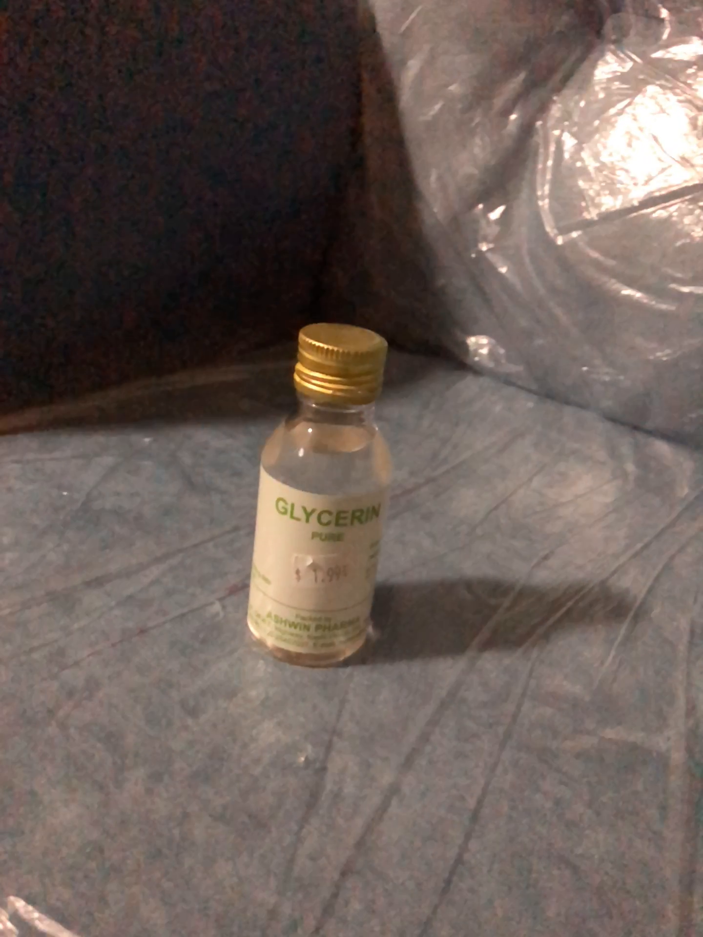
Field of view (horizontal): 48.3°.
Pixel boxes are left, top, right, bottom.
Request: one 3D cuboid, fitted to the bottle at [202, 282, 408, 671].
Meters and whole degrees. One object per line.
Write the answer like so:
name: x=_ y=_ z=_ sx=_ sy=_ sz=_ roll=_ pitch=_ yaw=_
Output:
bottle: x=-0.014 y=0.002 z=0.234 sx=0.050 sy=0.100 sz=0.050 roll=4 pitch=26 yaw=-2
